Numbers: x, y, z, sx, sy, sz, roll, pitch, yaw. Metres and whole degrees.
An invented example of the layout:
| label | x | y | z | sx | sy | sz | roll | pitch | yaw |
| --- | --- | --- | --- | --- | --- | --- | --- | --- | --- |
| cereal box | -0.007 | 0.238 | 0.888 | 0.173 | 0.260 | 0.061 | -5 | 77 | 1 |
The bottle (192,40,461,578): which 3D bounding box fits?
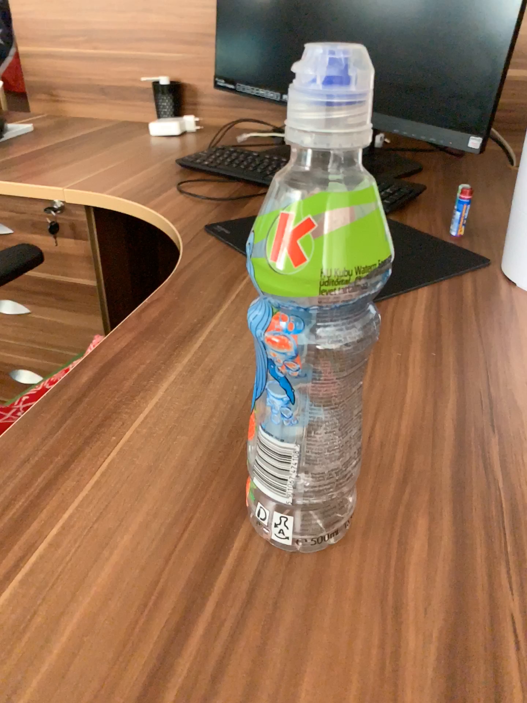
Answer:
| label | x | y | z | sx | sy | sz | roll | pitch | yaw |
| --- | --- | --- | --- | --- | --- | --- | --- | --- | --- |
| bottle | 0.021 | -0.010 | 0.261 | 0.070 | 0.239 | 0.070 | 1 | 32 | -1 |
